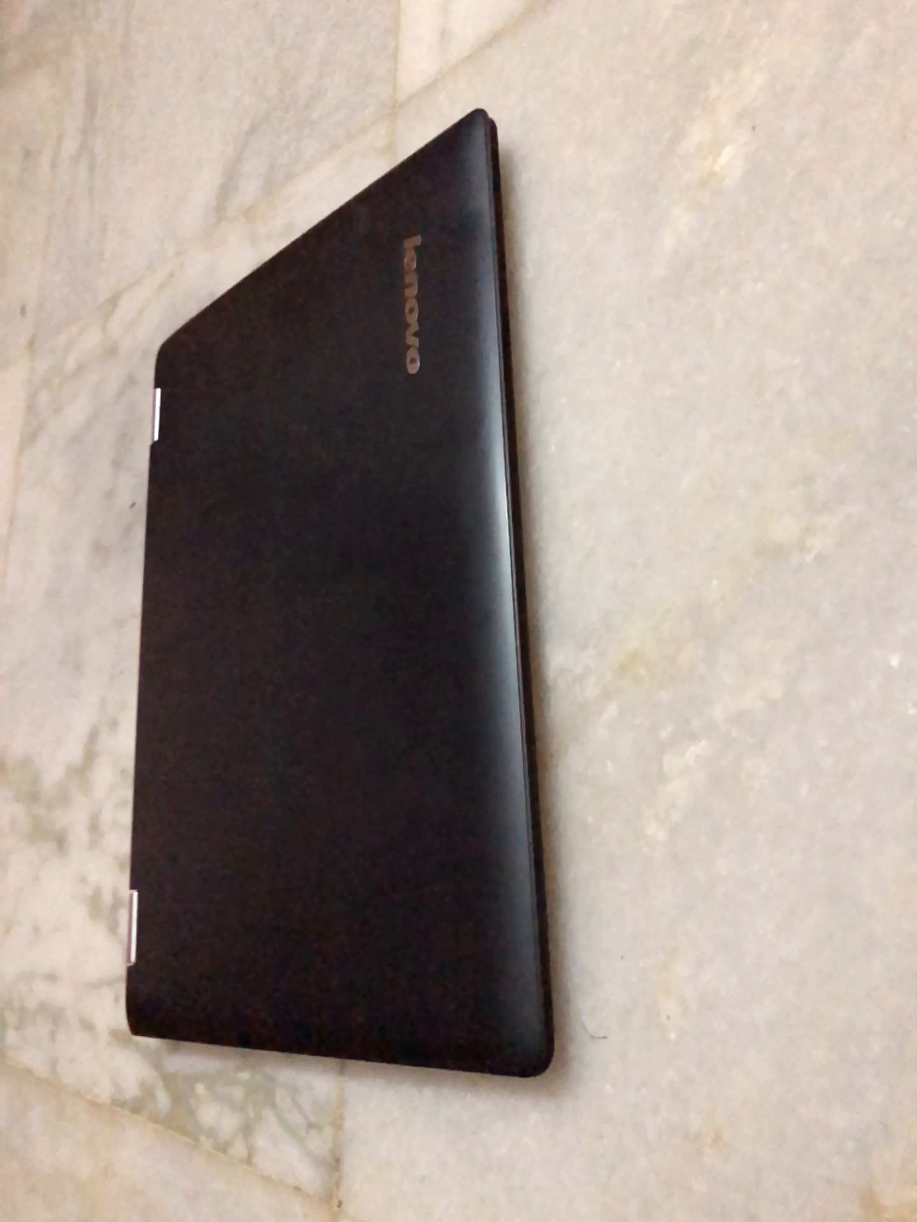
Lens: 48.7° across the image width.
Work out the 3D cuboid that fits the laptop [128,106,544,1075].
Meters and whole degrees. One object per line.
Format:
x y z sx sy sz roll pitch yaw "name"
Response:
-0.064 -0.004 0.400 0.223 0.002 0.329 -17 68 41 "laptop"
